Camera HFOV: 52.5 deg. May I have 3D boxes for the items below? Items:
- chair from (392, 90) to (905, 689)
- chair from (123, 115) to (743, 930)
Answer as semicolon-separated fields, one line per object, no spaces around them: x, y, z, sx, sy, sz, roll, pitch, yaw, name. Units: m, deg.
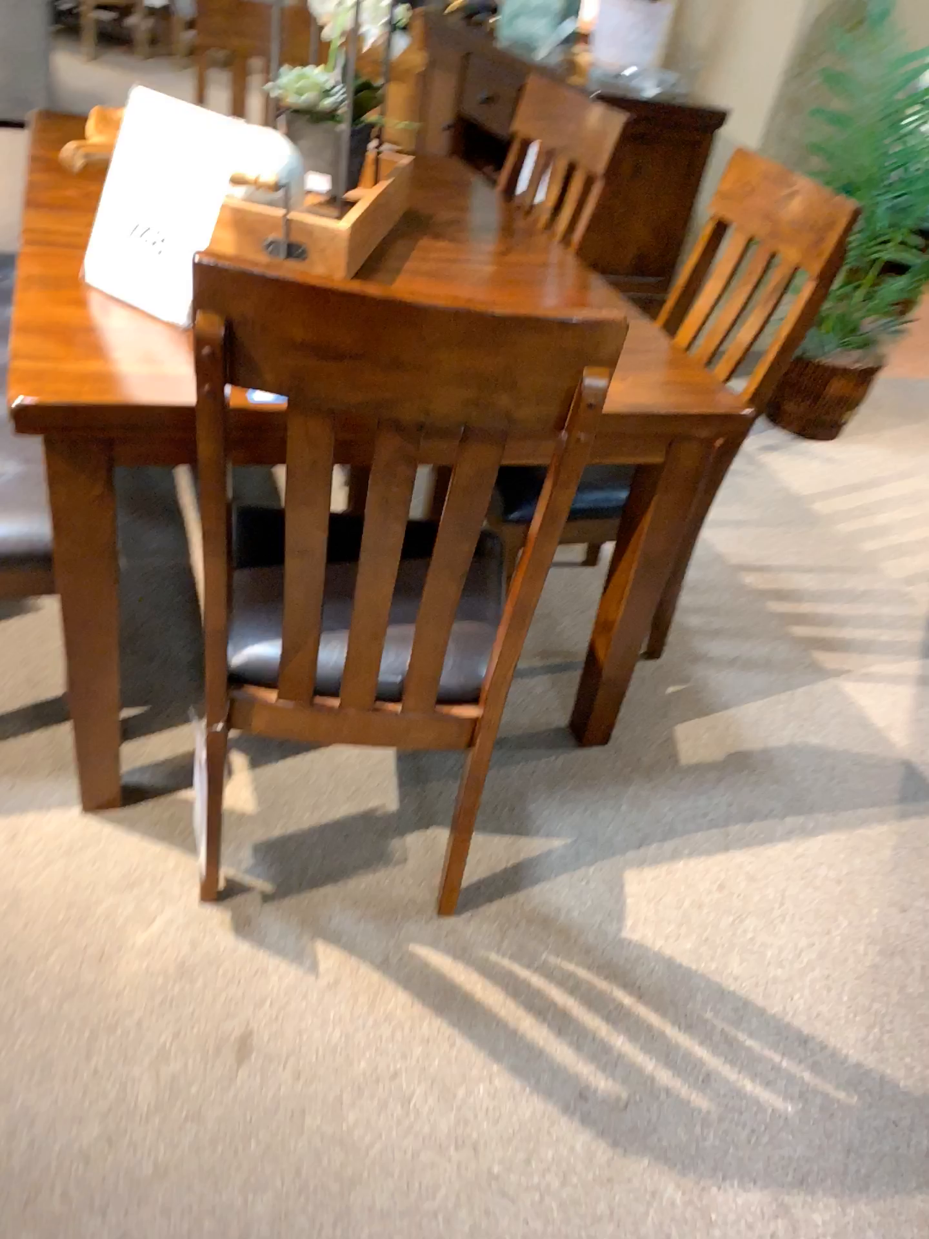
0.252;-0.425;1.815;0.529;0.890;0.594;-5;40;-22;chair
-0.101;-0.094;1.277;0.531;0.890;0.542;6;37;-8;chair
